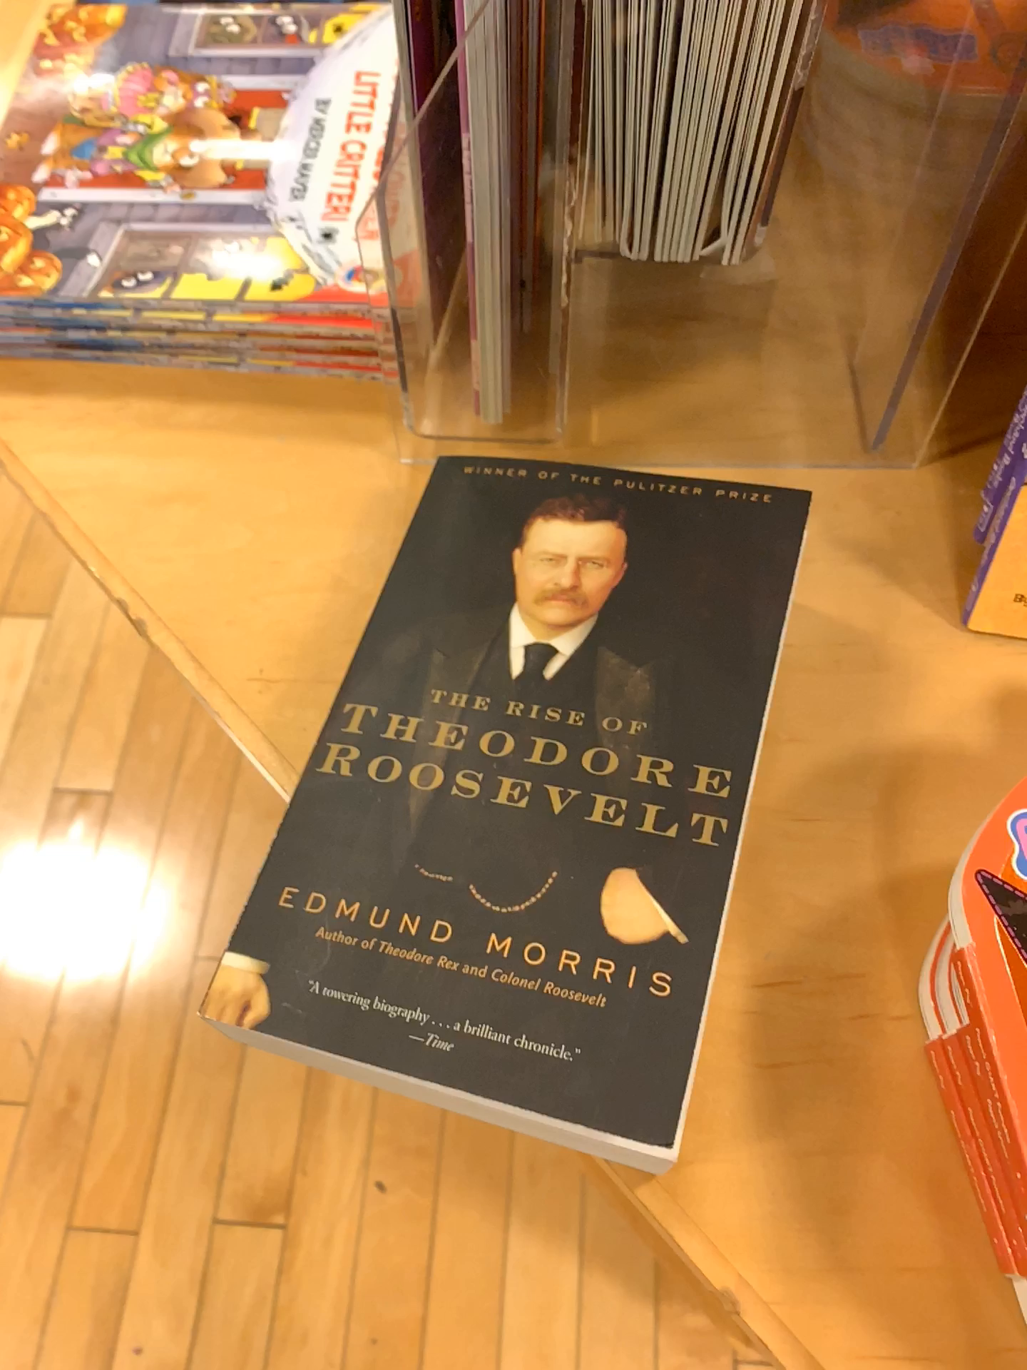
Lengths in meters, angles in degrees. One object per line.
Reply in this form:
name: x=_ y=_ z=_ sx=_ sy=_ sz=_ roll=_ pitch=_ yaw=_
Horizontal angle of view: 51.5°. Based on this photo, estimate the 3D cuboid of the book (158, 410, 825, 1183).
book: x=0.006 y=0.024 z=0.321 sx=0.130 sy=0.066 sz=0.195 roll=14 pitch=63 yaw=10
